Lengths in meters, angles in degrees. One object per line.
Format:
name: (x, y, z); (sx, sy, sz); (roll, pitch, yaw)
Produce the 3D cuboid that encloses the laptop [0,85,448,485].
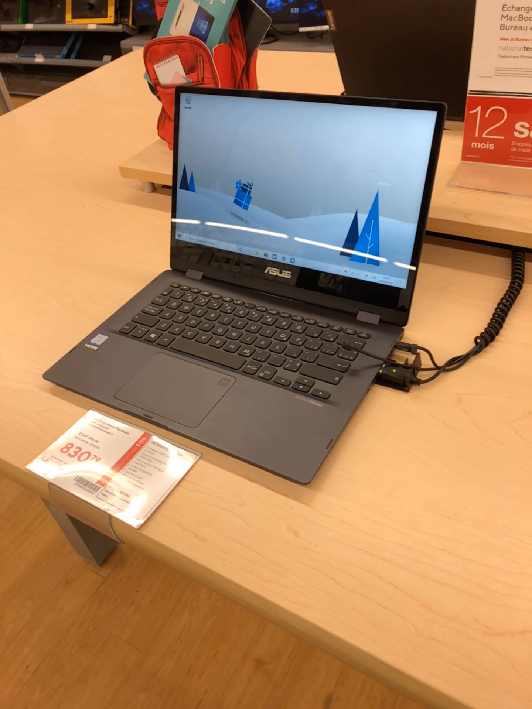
laptop: (-0.032, -0.104, 0.581); (0.313, 0.188, 0.314); (17, 48, 28)
